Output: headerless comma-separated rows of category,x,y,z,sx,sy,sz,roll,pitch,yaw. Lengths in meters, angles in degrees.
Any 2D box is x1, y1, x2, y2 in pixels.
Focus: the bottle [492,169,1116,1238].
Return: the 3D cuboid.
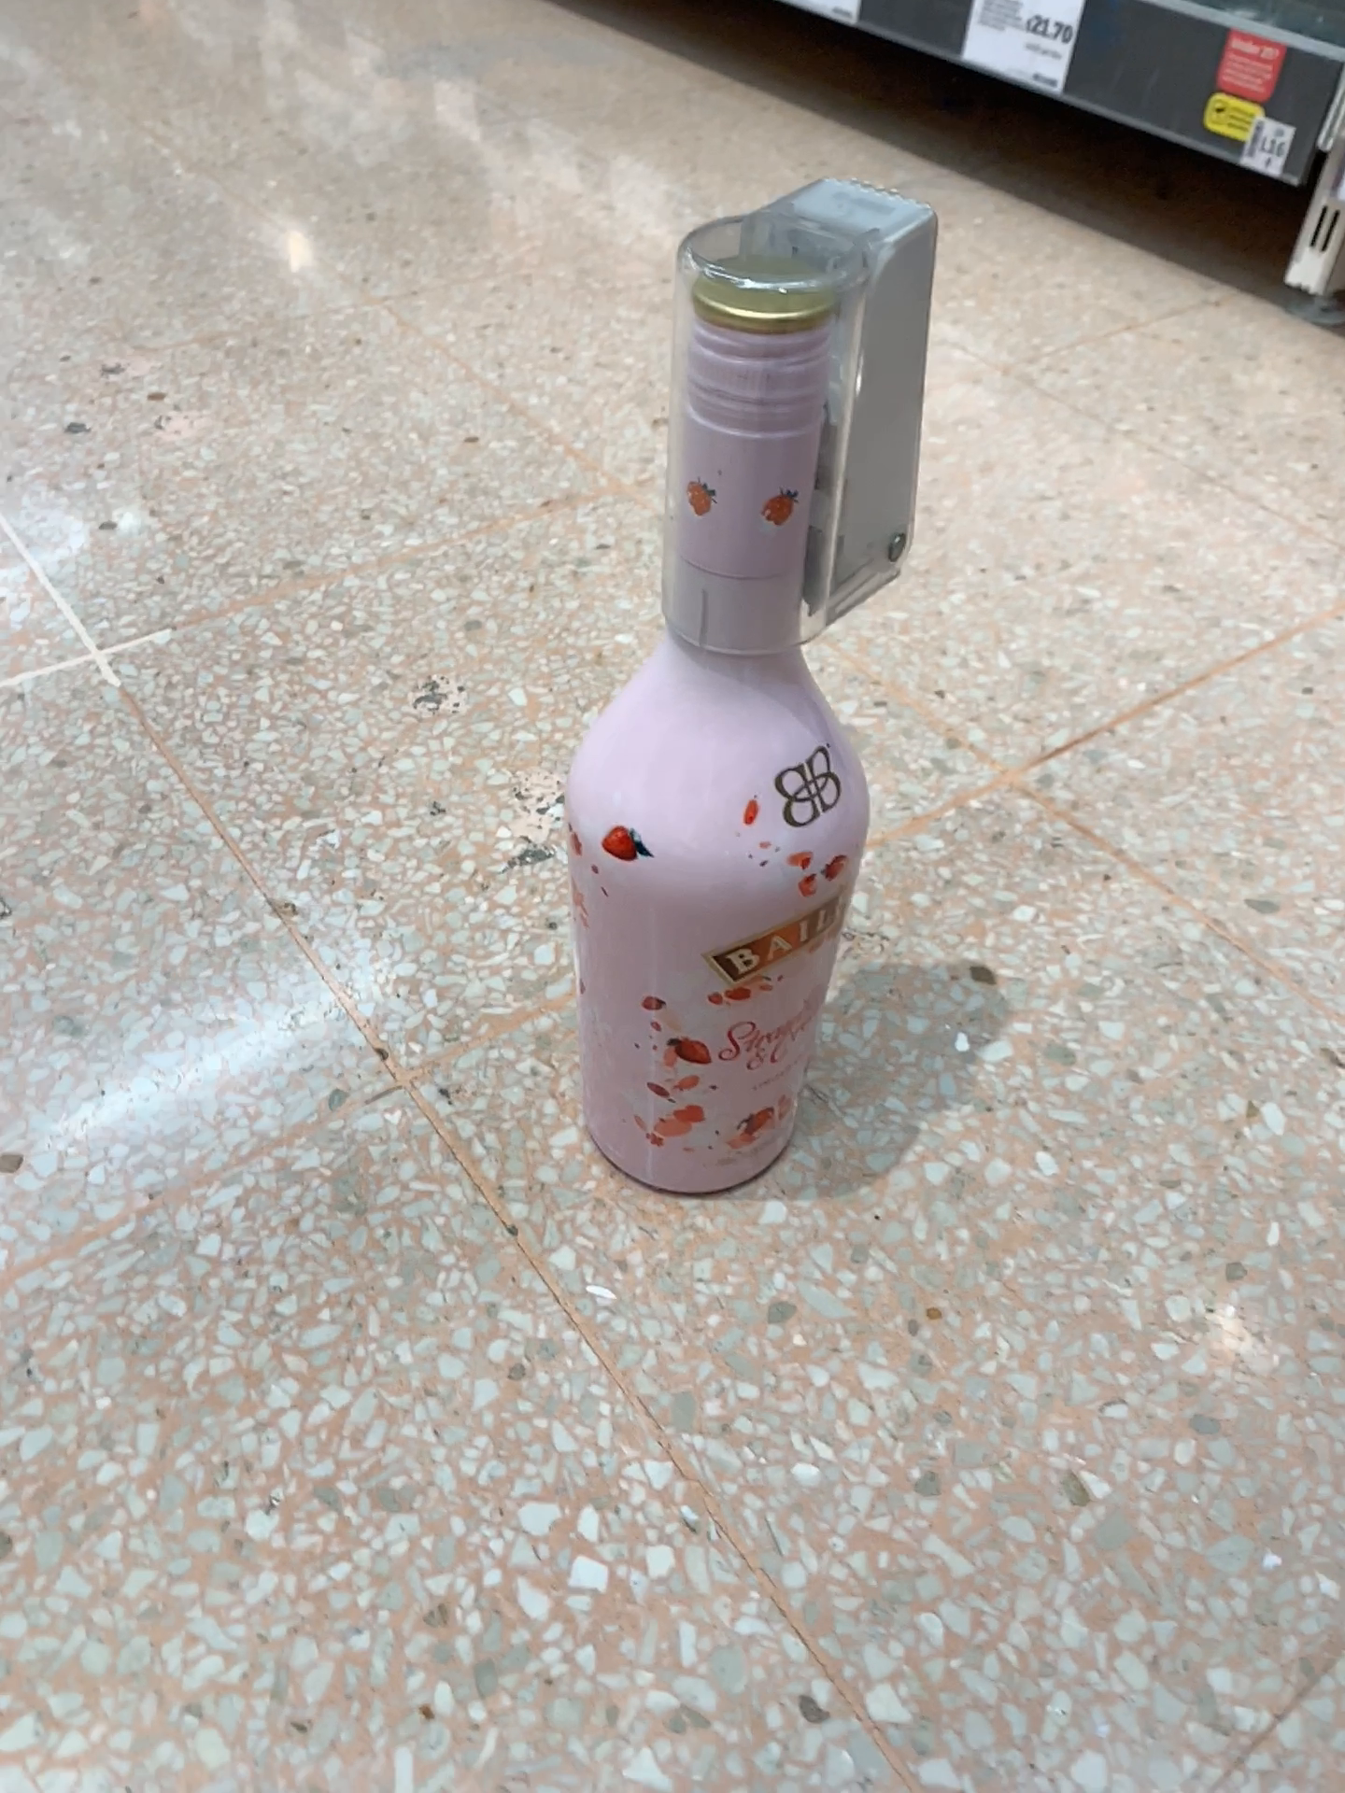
bottle,0.022,-0.034,0.362,0.104,0.253,0.073,-32,55,-31
